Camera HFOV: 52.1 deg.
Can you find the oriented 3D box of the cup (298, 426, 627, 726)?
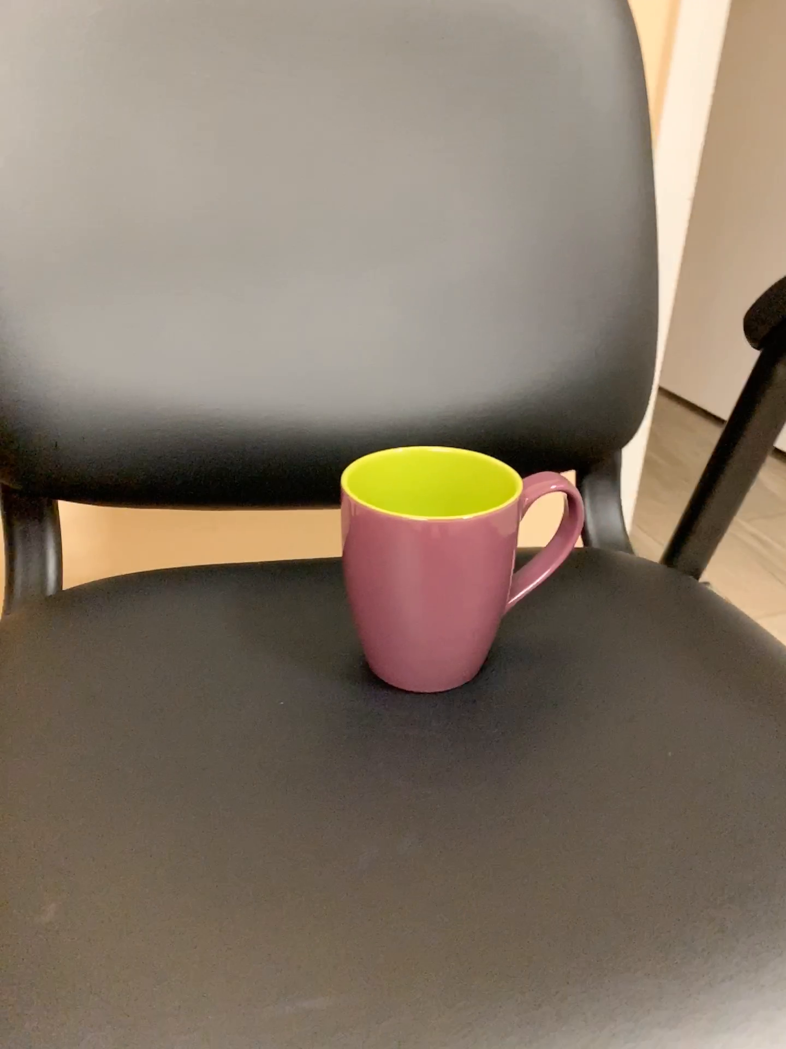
[{"bbox_3d":[0.032,0.021,0.437,0.144,0.109,0.090,-9,30,-20],"label":"cup"}]
